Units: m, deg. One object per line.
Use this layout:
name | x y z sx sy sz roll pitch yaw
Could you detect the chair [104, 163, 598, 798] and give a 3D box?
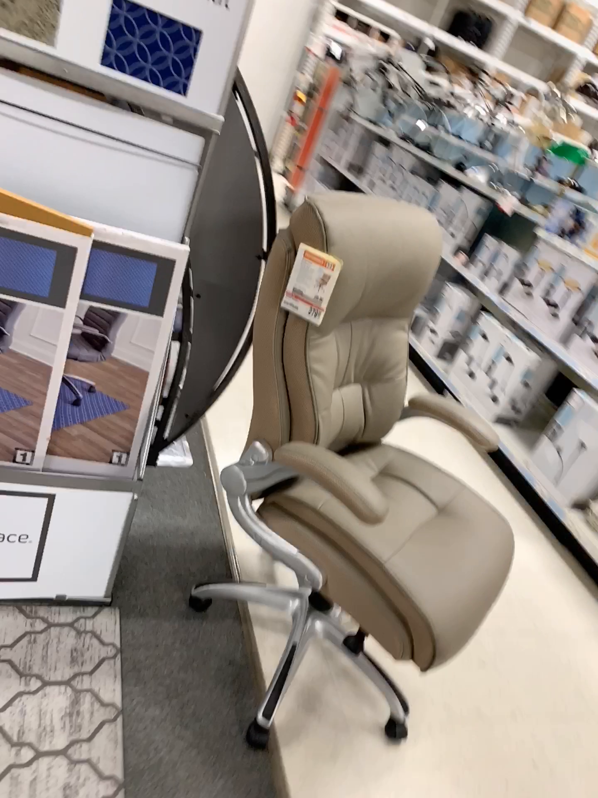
chair | 0.181 0.198 1.413 0.720 1.144 0.713 35 29 24
